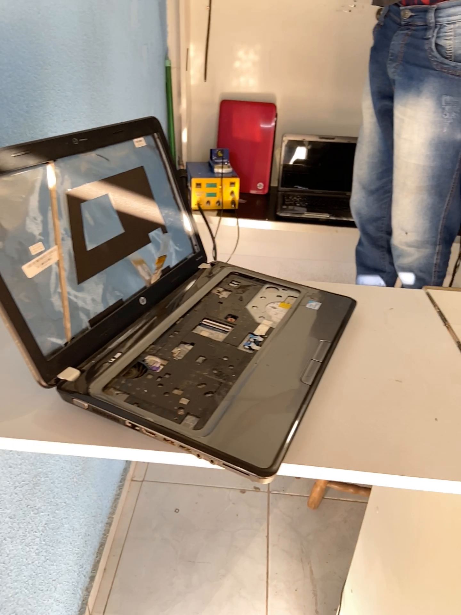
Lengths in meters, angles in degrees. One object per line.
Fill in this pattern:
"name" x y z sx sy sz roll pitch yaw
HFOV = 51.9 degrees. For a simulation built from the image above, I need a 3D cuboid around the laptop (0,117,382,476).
"laptop" -0.041 -0.066 0.527 0.323 0.194 0.337 16 33 21
